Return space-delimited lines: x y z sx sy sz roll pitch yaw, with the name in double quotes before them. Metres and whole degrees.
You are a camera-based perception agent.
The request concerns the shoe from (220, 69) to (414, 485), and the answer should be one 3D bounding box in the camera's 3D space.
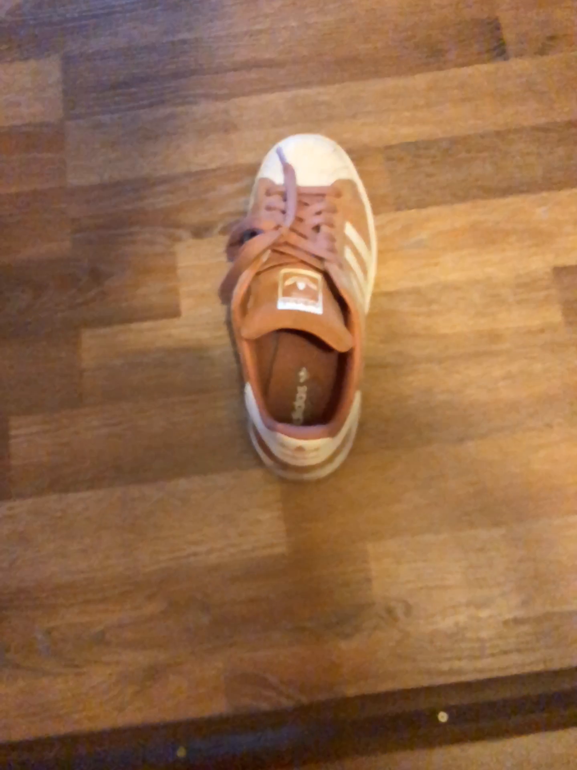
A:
"shoe" 0.015 -0.067 0.451 0.110 0.110 0.260 -1 77 2
